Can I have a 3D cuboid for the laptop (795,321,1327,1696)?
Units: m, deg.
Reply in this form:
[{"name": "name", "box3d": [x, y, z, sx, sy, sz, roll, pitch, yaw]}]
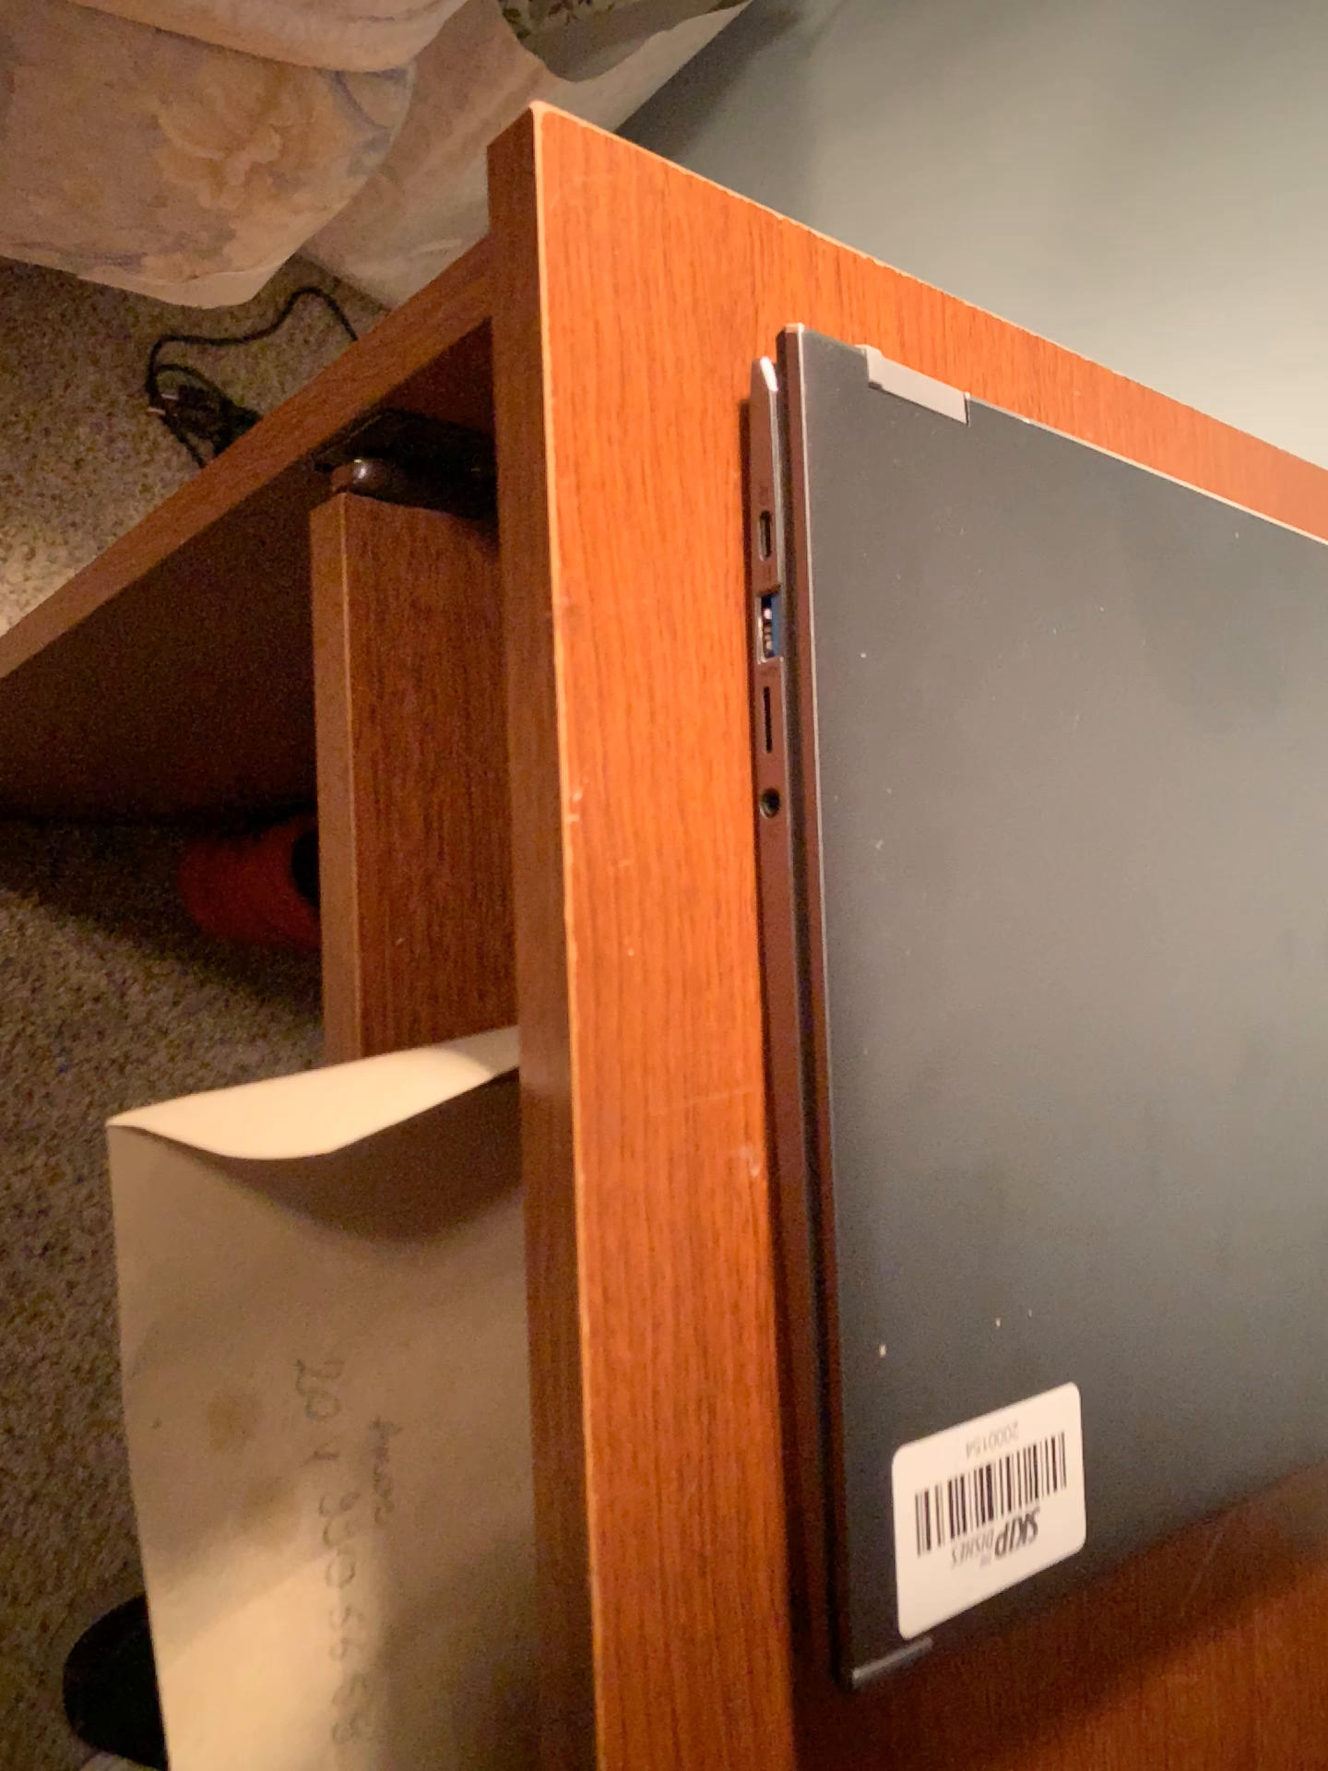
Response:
[{"name": "laptop", "box3d": [0.141, 0.021, 0.330, 0.301, 0.002, 0.232, 3, 84, -41]}]
